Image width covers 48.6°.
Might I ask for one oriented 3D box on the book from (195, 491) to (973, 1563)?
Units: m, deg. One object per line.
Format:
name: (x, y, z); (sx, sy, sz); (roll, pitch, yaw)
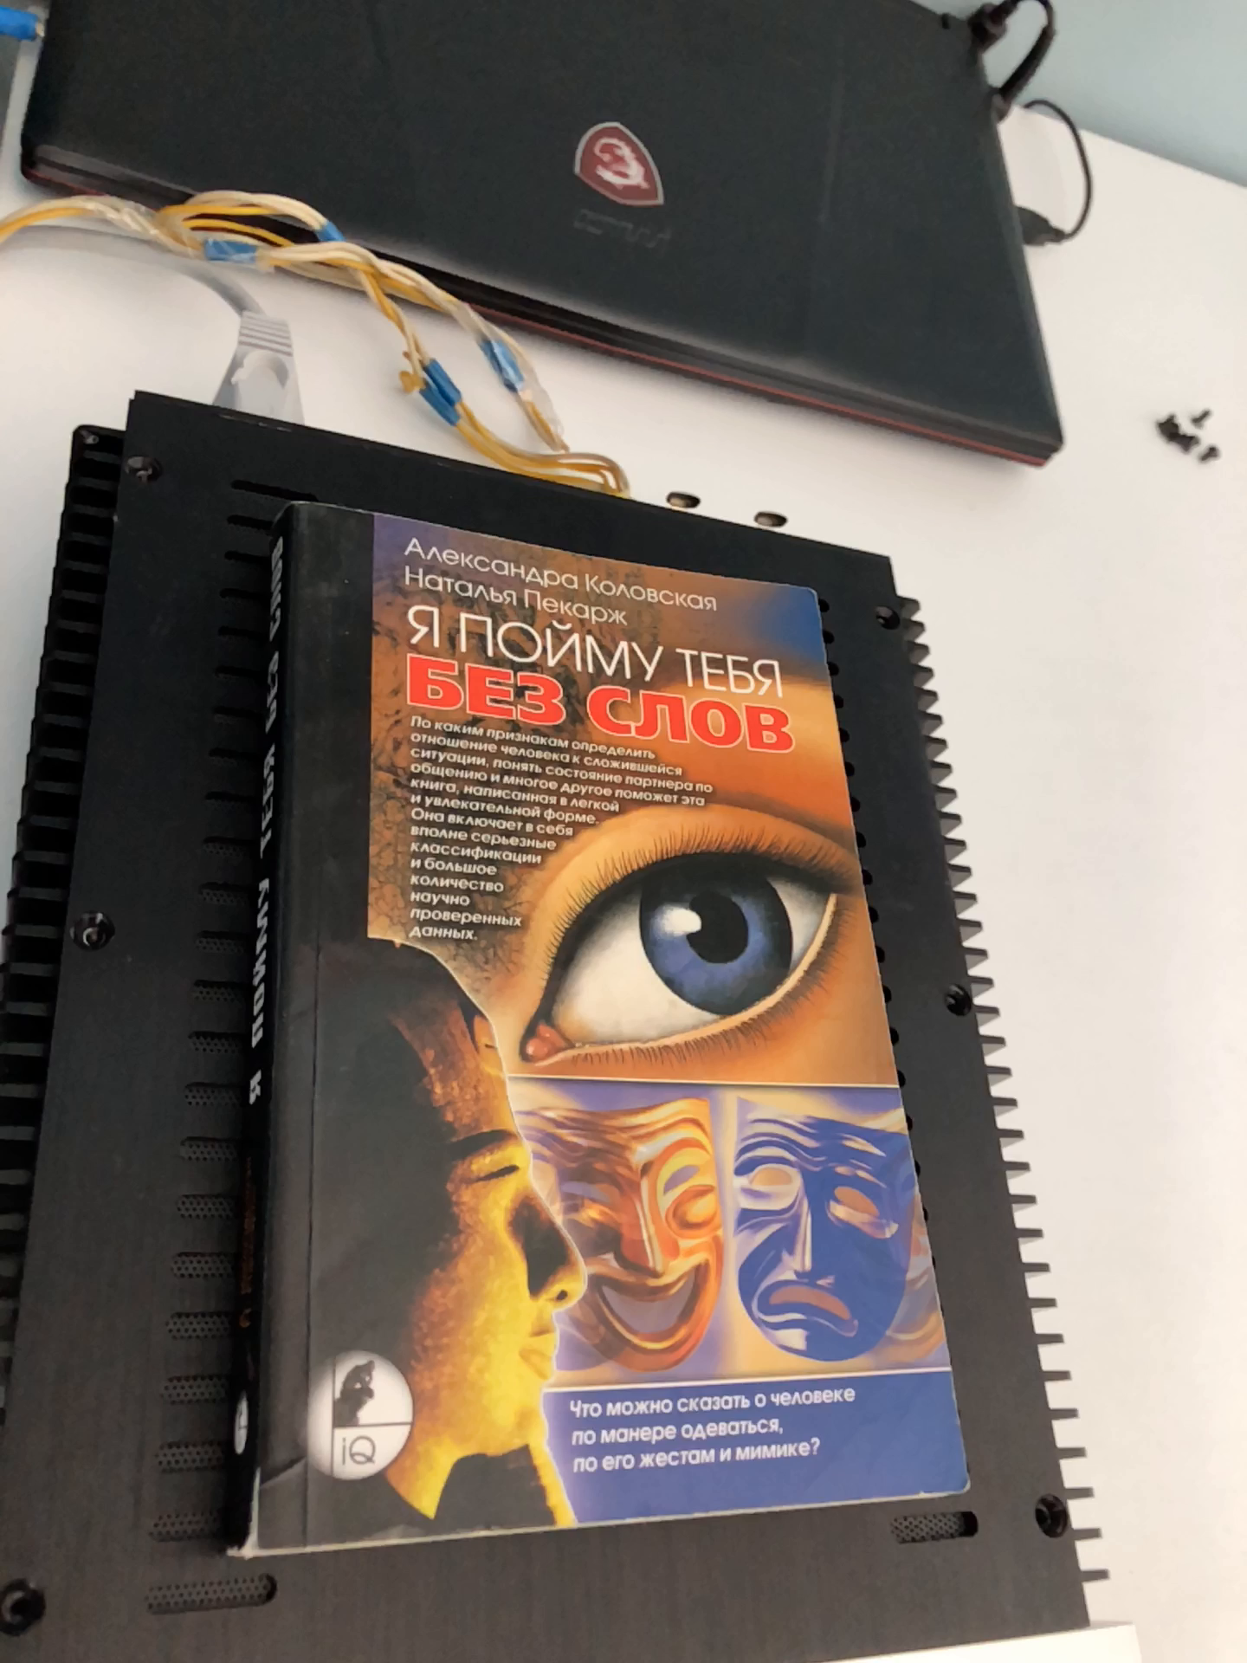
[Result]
book: (-0.009, 0.028, 0.258); (0.123, 0.023, 0.183); (7, 62, -21)
